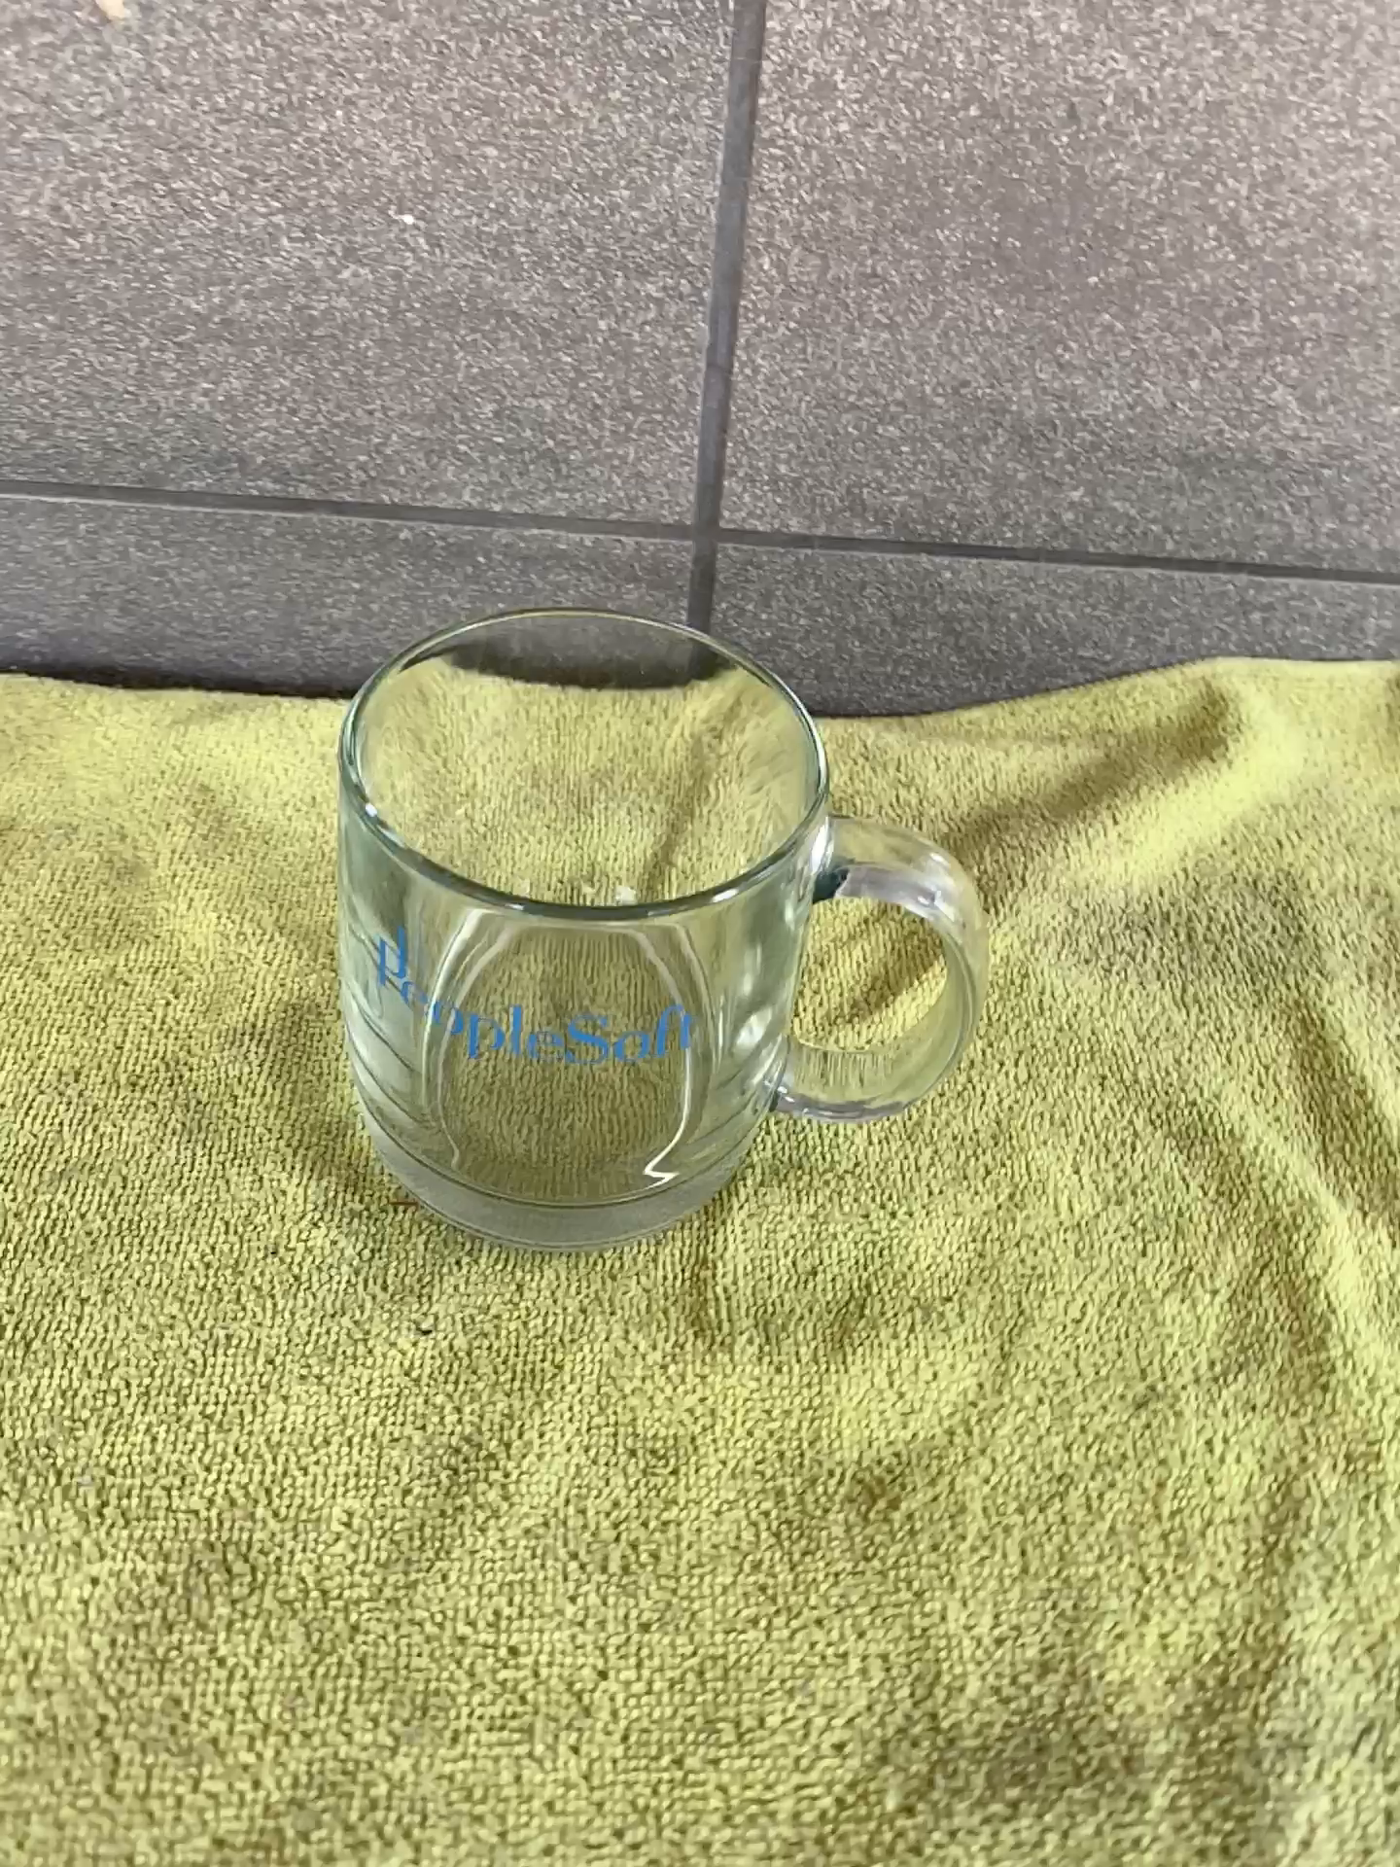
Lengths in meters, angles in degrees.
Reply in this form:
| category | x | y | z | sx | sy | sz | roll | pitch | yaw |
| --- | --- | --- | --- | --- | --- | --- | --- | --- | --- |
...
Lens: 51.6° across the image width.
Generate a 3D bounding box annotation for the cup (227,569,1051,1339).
| category | x | y | z | sx | sy | sz | roll | pitch | yaw |
| --- | --- | --- | --- | --- | --- | --- | --- | --- | --- |
| cup | -0.008 | 0.004 | 0.271 | 0.120 | 0.100 | 0.080 | 9 | 43 | 3 |
